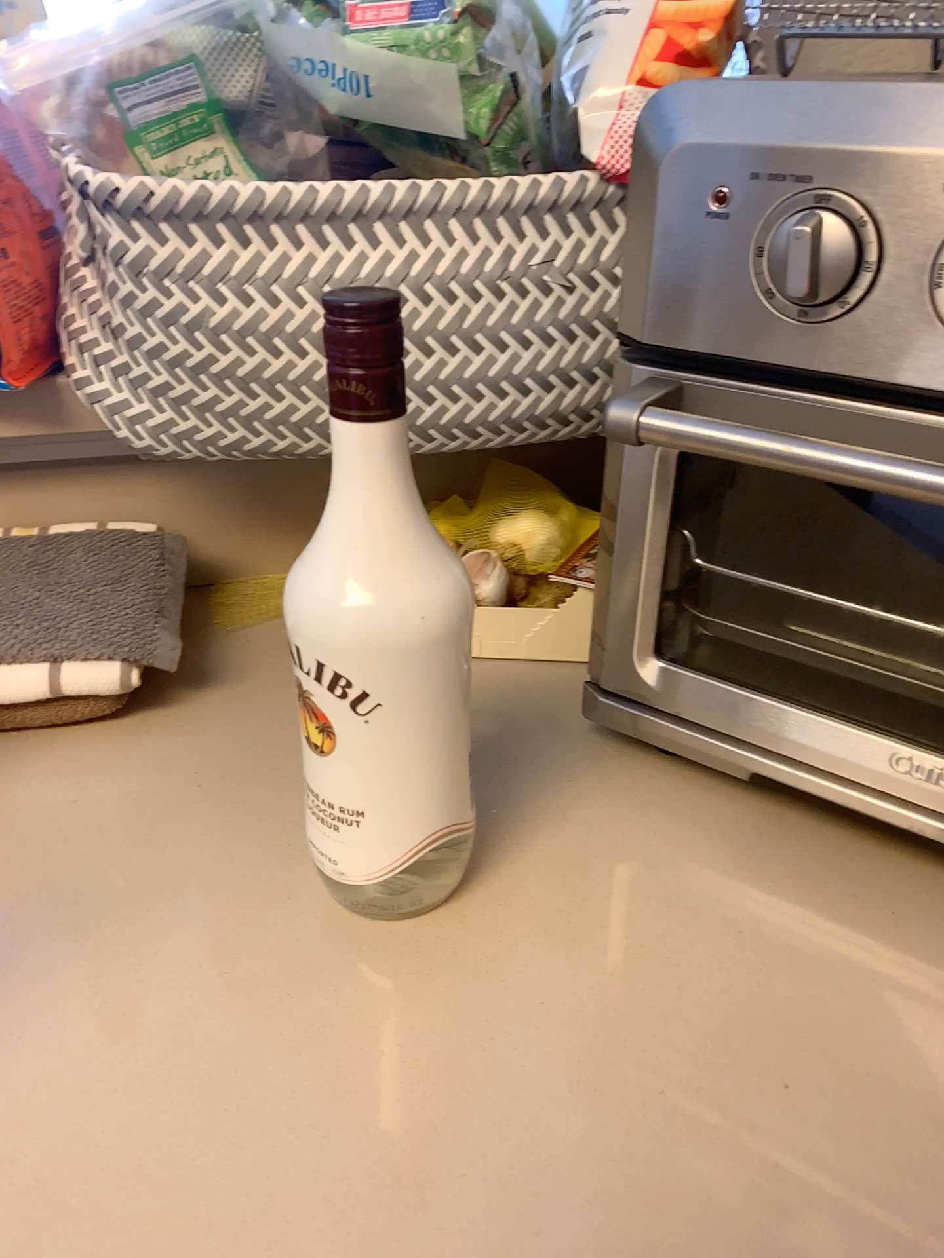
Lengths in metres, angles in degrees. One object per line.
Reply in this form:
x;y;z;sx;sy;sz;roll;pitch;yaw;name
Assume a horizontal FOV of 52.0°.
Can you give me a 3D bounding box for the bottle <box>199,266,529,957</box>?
-0.035;-0.002;0.394;0.080;0.258;0.080;0;29;0;bottle
